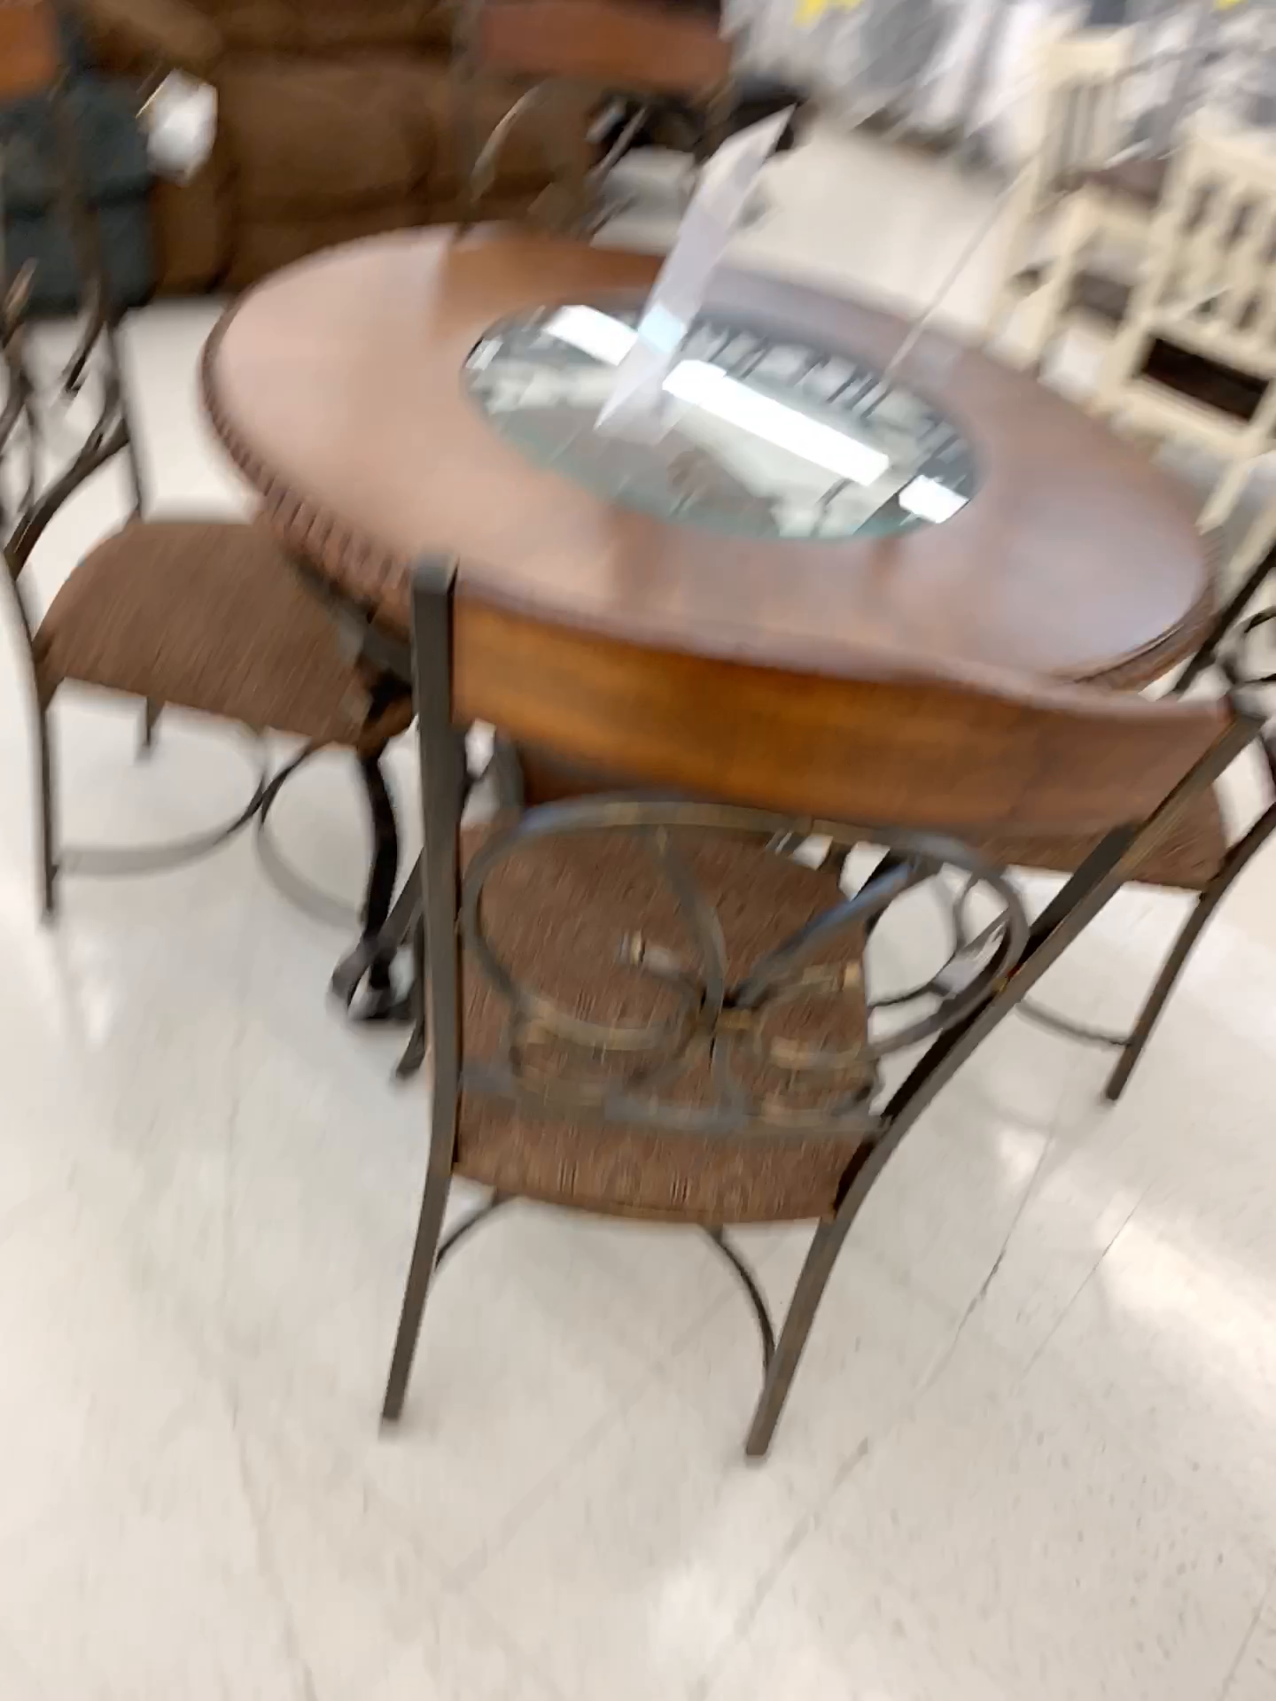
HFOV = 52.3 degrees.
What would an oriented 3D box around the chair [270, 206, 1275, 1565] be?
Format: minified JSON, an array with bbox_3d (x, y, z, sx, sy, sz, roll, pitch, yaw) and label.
[{"bbox_3d":[0.019,0.088,1.134,0.520,0.975,0.583,10,40,-5],"label":"chair"}]
